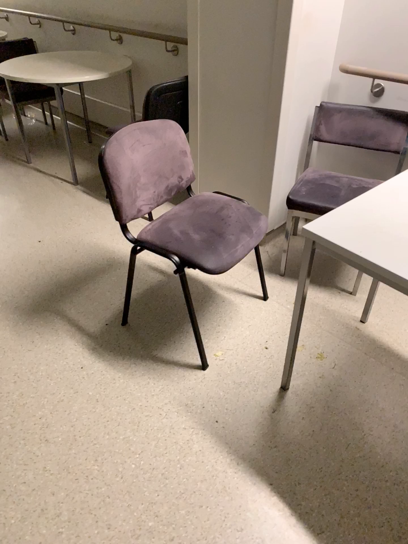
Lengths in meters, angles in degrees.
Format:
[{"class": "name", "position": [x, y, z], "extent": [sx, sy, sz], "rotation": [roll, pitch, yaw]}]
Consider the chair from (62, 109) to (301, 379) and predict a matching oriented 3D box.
[{"class": "chair", "position": [-0.067, -0.151, 1.675], "extent": [0.602, 0.753, 0.604], "rotation": [22, 41, 26]}]

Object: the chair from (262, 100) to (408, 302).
[{"class": "chair", "position": [0.641, -0.365, 2.023], "extent": [0.501, 0.723, 0.564], "rotation": [15, 38, 18]}]
